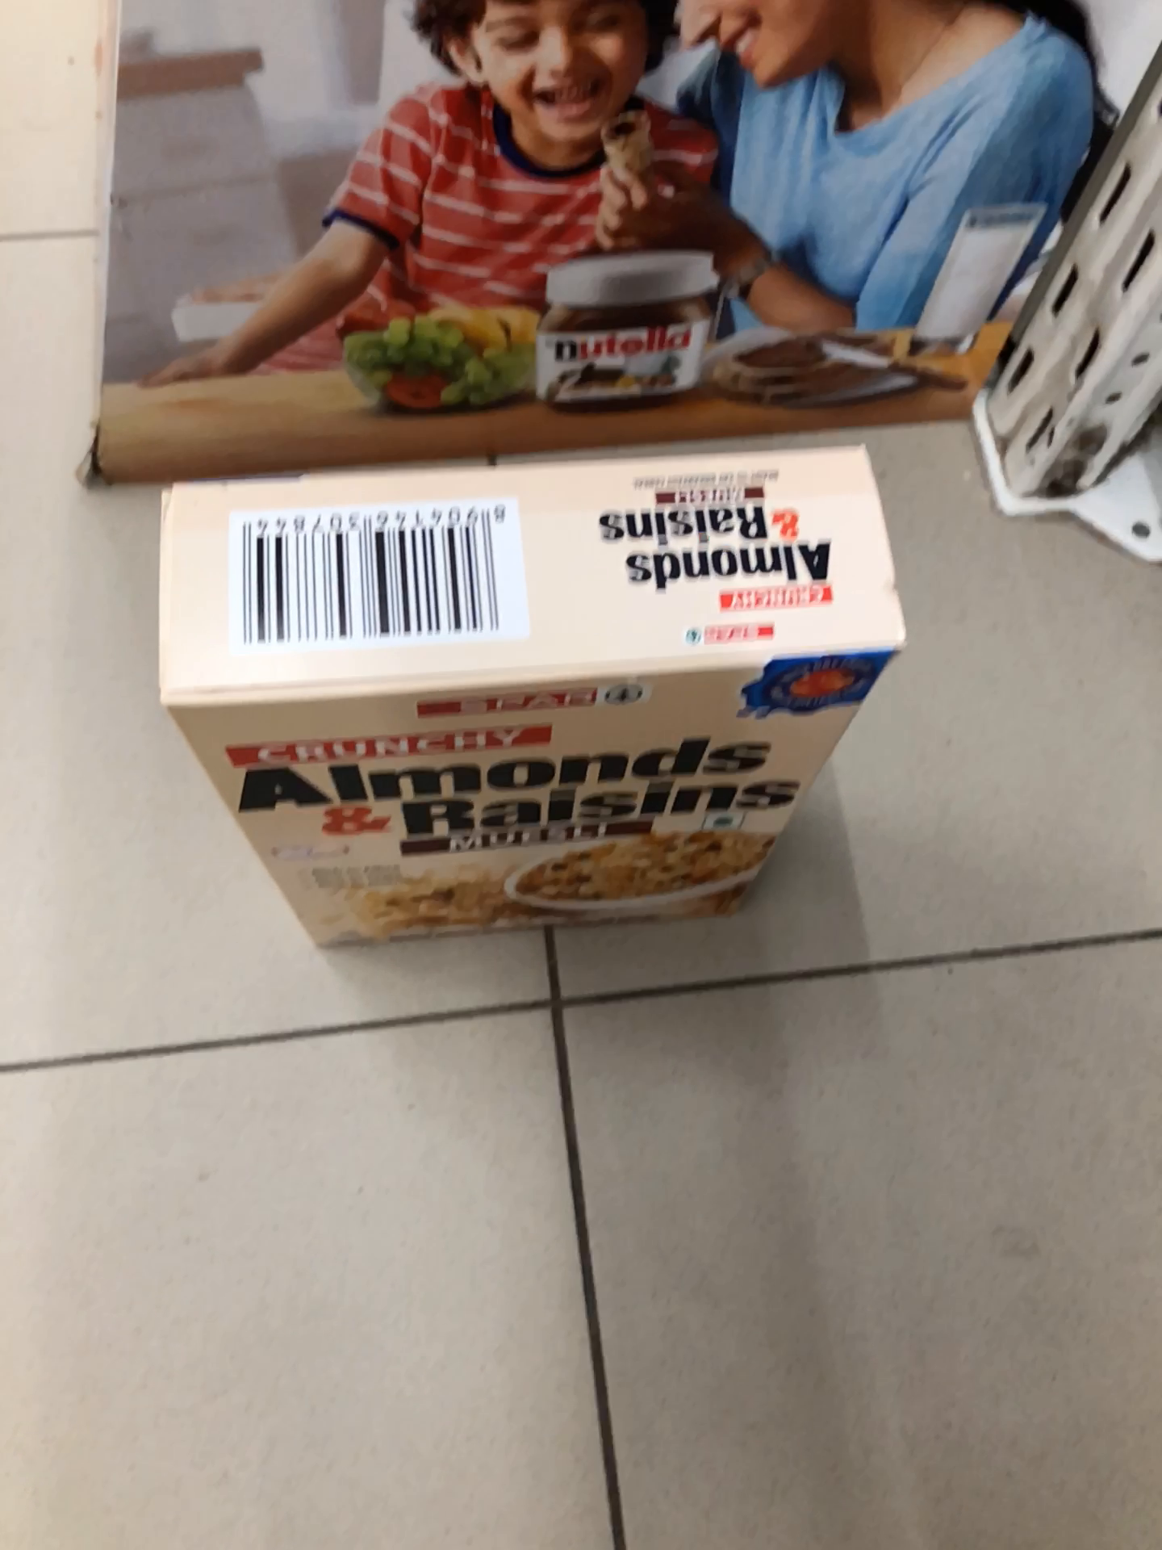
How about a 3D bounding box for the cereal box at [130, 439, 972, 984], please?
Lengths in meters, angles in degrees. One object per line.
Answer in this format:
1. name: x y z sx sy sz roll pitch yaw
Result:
1. cereal box: -0.013 0.000 0.397 0.180 0.239 0.060 -4 68 -5
